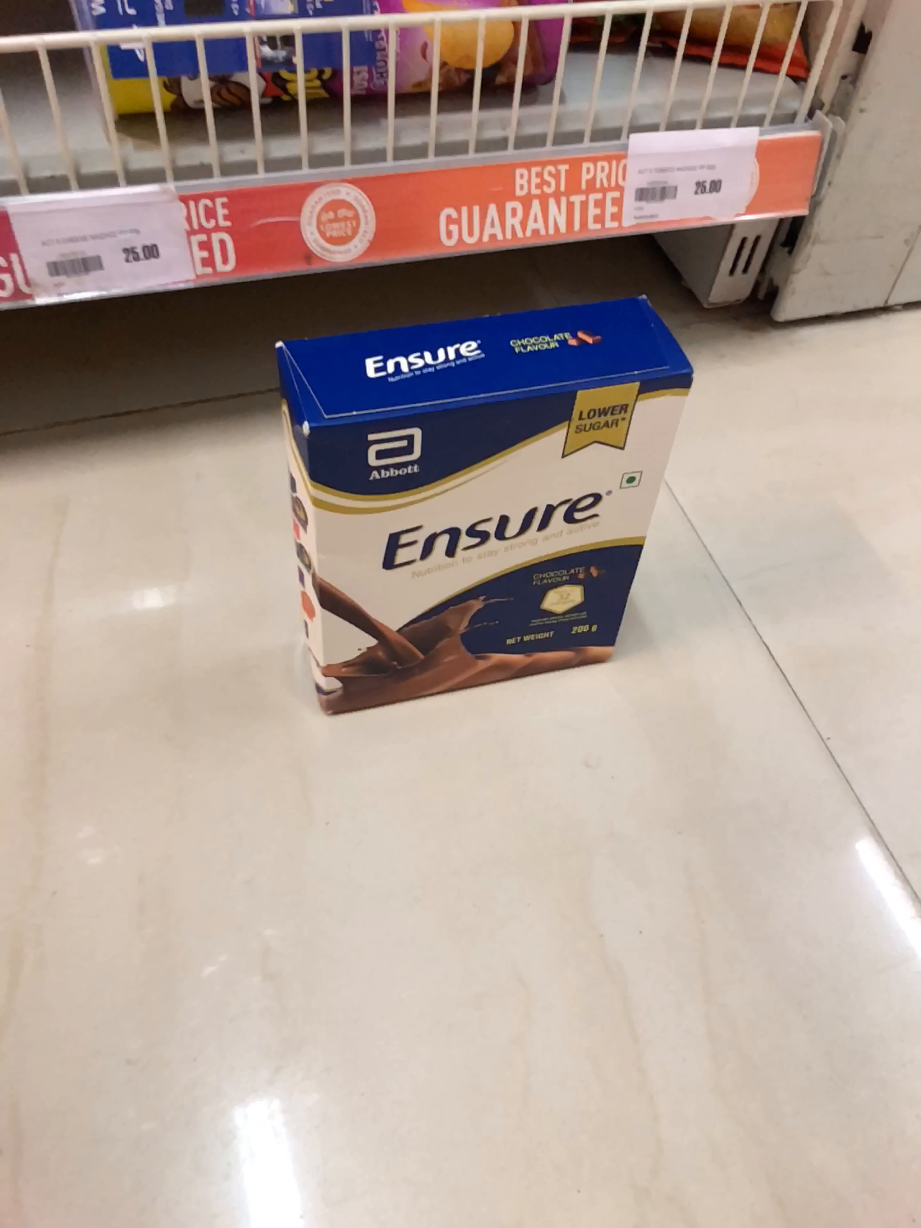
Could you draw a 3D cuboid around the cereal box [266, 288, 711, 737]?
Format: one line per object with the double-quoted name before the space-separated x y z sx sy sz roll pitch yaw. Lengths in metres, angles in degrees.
"cereal box" 0.003 -0.032 0.408 0.140 0.179 0.050 -10 54 -13
